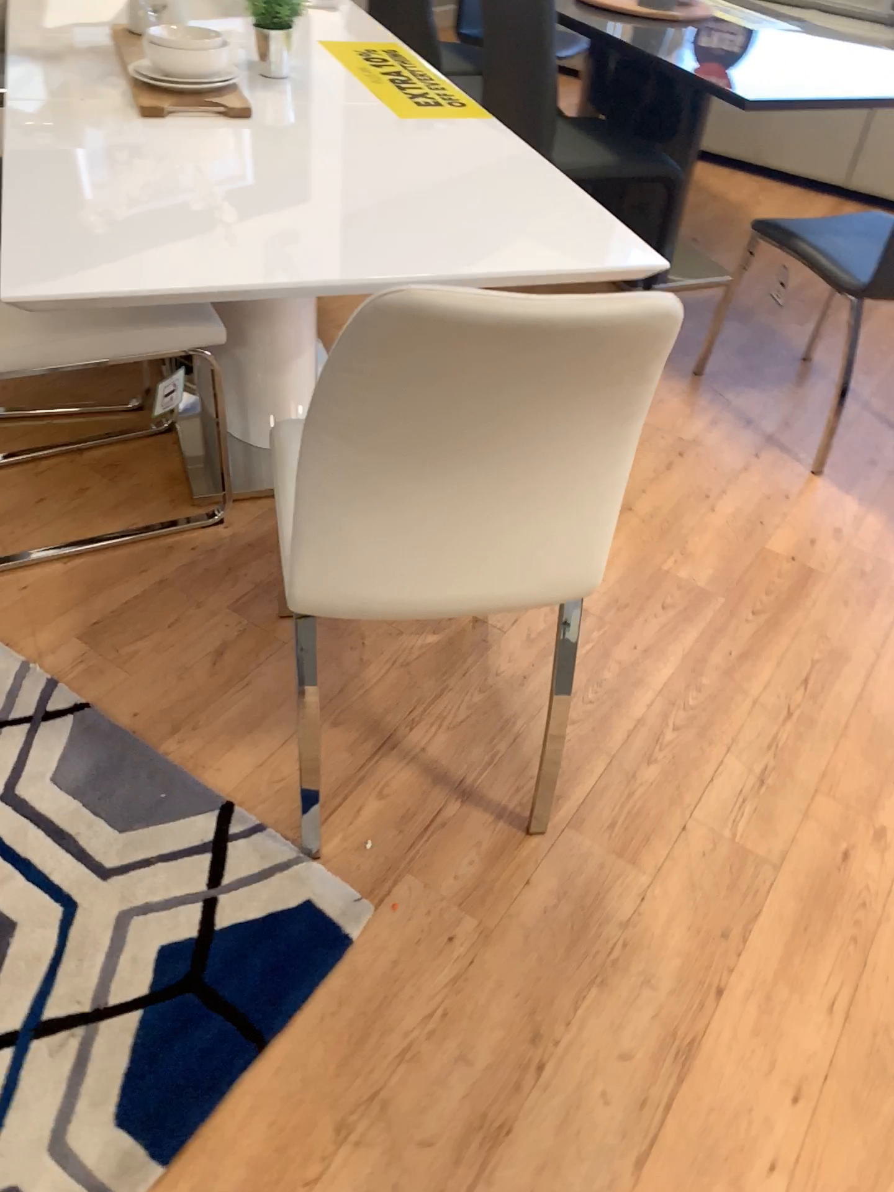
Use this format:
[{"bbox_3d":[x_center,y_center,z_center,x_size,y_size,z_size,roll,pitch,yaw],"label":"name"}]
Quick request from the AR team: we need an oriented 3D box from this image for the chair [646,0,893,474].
[{"bbox_3d":[0.909,-0.823,2.071,0.516,0.863,0.553,-9,44,-17],"label":"chair"}]

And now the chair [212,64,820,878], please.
[{"bbox_3d":[-0.022,-0.158,1.252,0.515,0.863,0.634,-4,43,-11],"label":"chair"}]
